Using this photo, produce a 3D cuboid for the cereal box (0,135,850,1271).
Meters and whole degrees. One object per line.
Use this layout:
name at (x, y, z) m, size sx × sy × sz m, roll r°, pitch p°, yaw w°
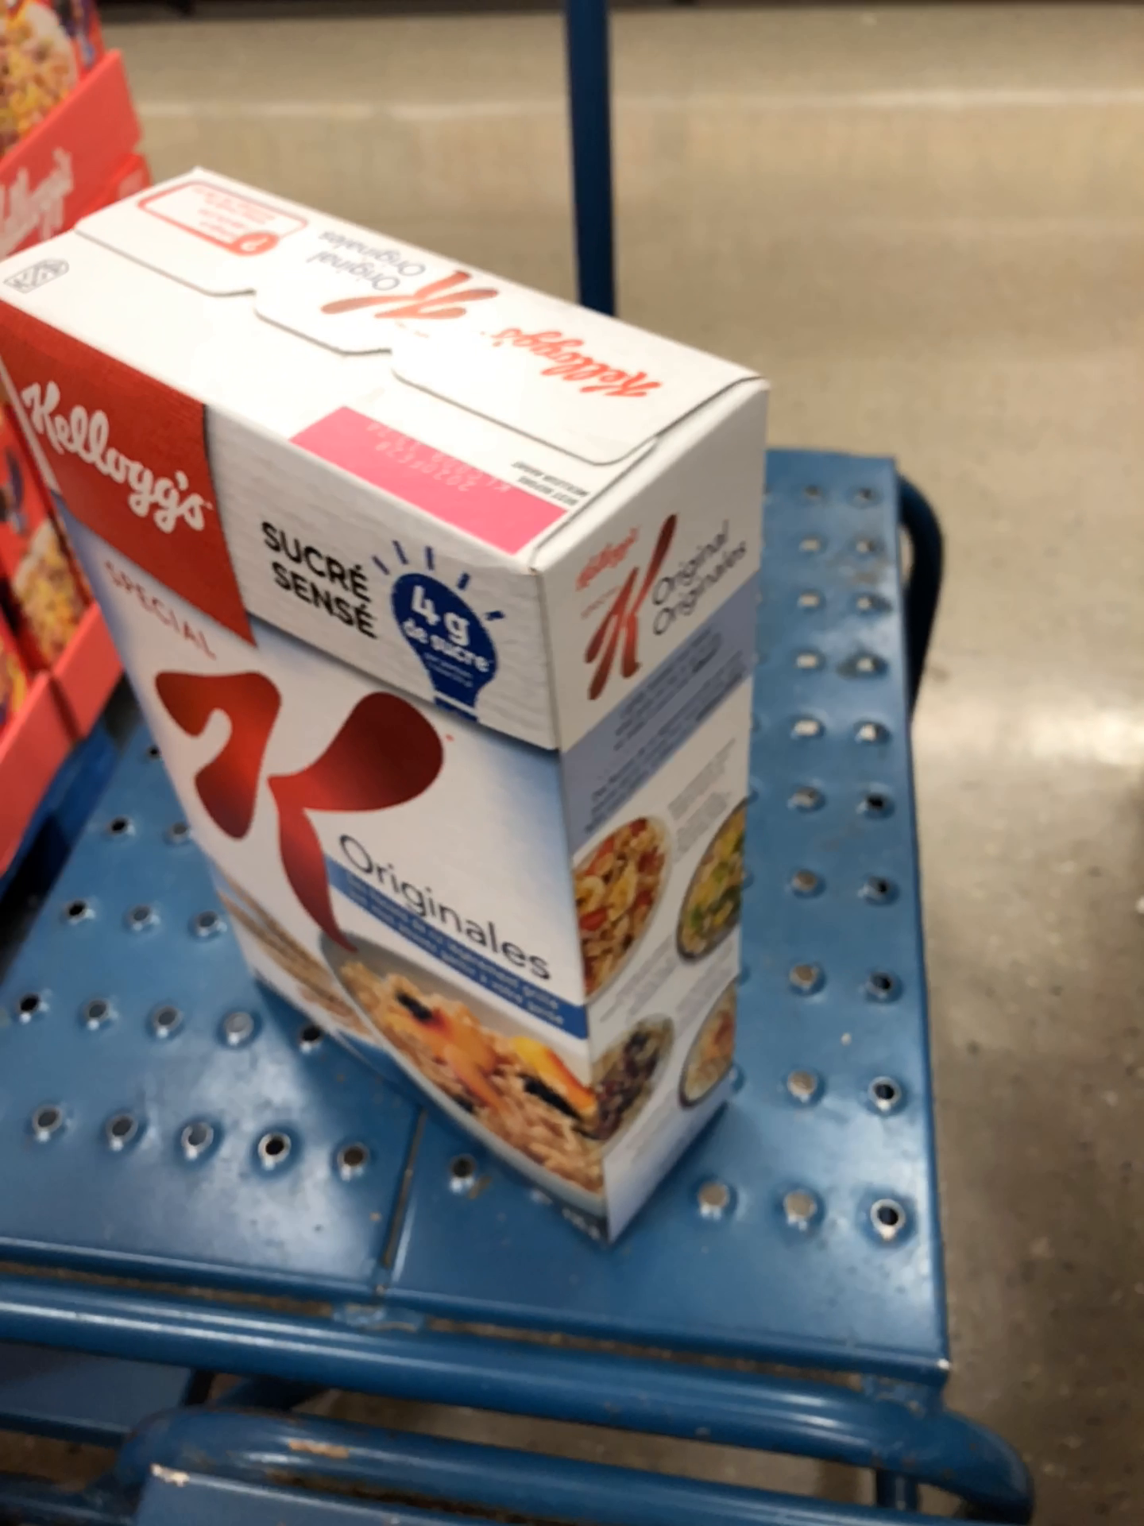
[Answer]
cereal box at (-0.042, -0.003, 0.395) m, size 0.210 × 0.299 × 0.080 m, roll 29°, pitch 54°, yaw 29°
